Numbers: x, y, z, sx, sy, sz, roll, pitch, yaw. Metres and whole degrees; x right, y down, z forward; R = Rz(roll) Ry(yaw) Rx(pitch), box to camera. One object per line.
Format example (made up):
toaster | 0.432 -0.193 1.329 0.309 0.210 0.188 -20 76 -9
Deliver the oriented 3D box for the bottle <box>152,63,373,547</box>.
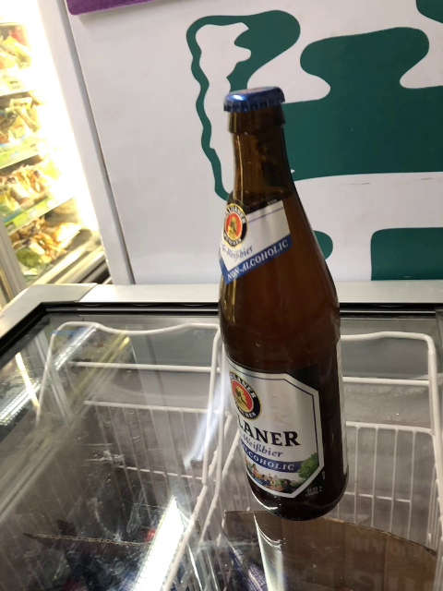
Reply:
bottle | 0.030 0.013 0.262 0.060 0.238 0.070 -23 29 -24
